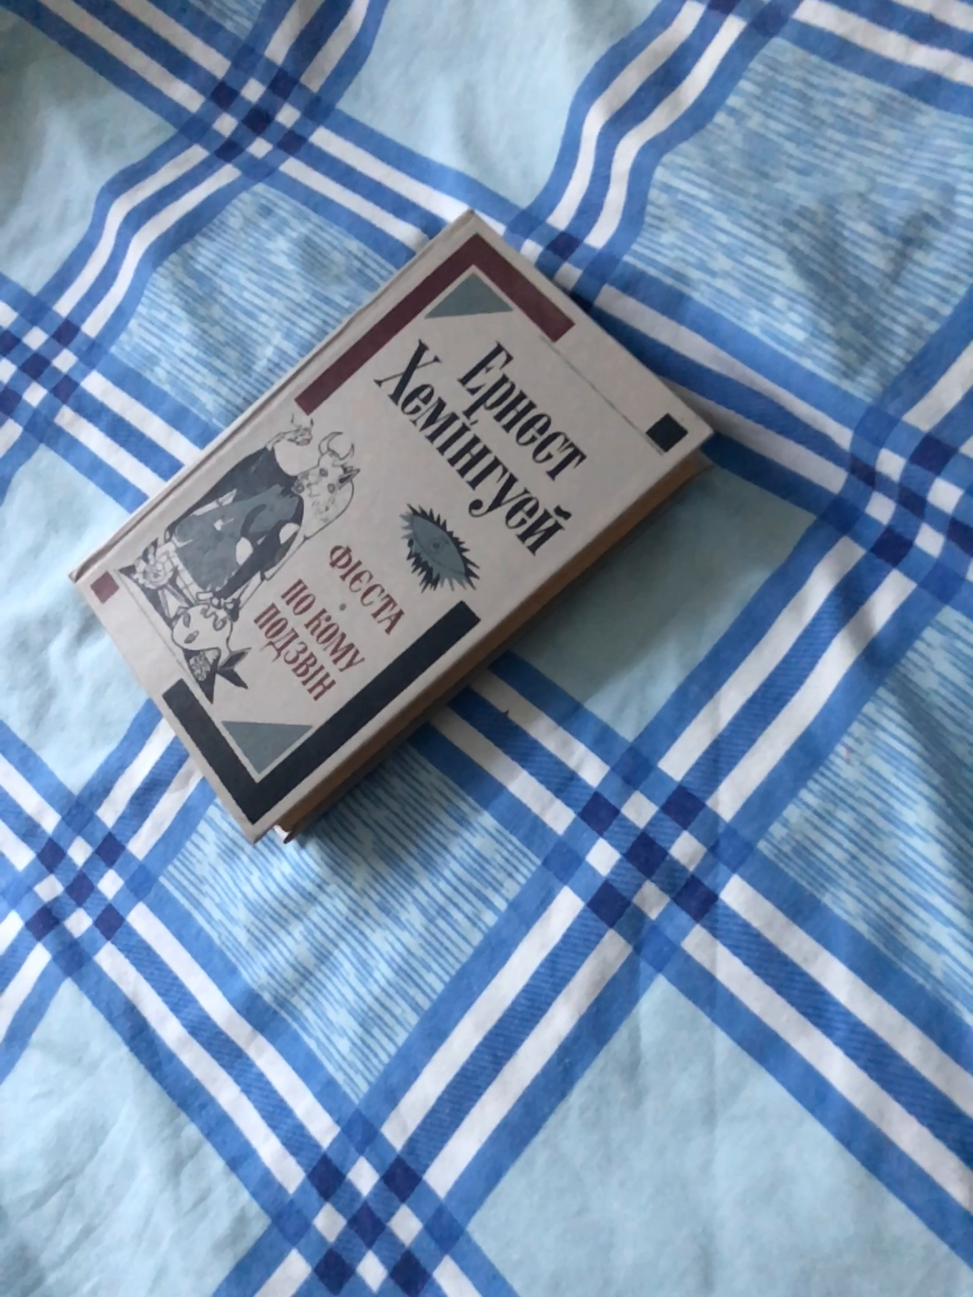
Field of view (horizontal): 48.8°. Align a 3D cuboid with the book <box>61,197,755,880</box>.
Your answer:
[{"bbox_3d":[-0.035,-0.042,0.399,0.220,0.040,0.142,-41,66,3],"label":"book"}]
